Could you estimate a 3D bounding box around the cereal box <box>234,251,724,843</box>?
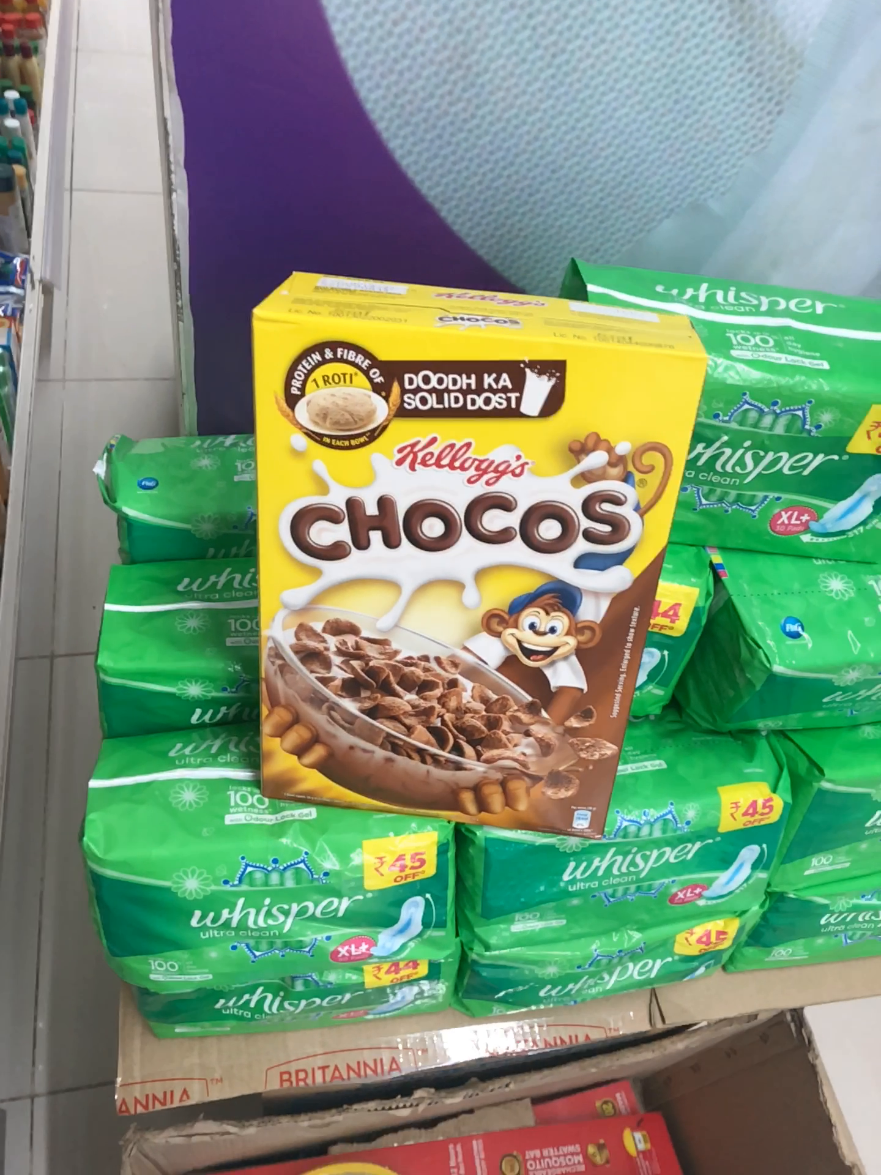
[{"bbox_3d":[0.007,-0.012,0.475,0.190,0.259,0.080,7,30,2],"label":"cereal box"}]
